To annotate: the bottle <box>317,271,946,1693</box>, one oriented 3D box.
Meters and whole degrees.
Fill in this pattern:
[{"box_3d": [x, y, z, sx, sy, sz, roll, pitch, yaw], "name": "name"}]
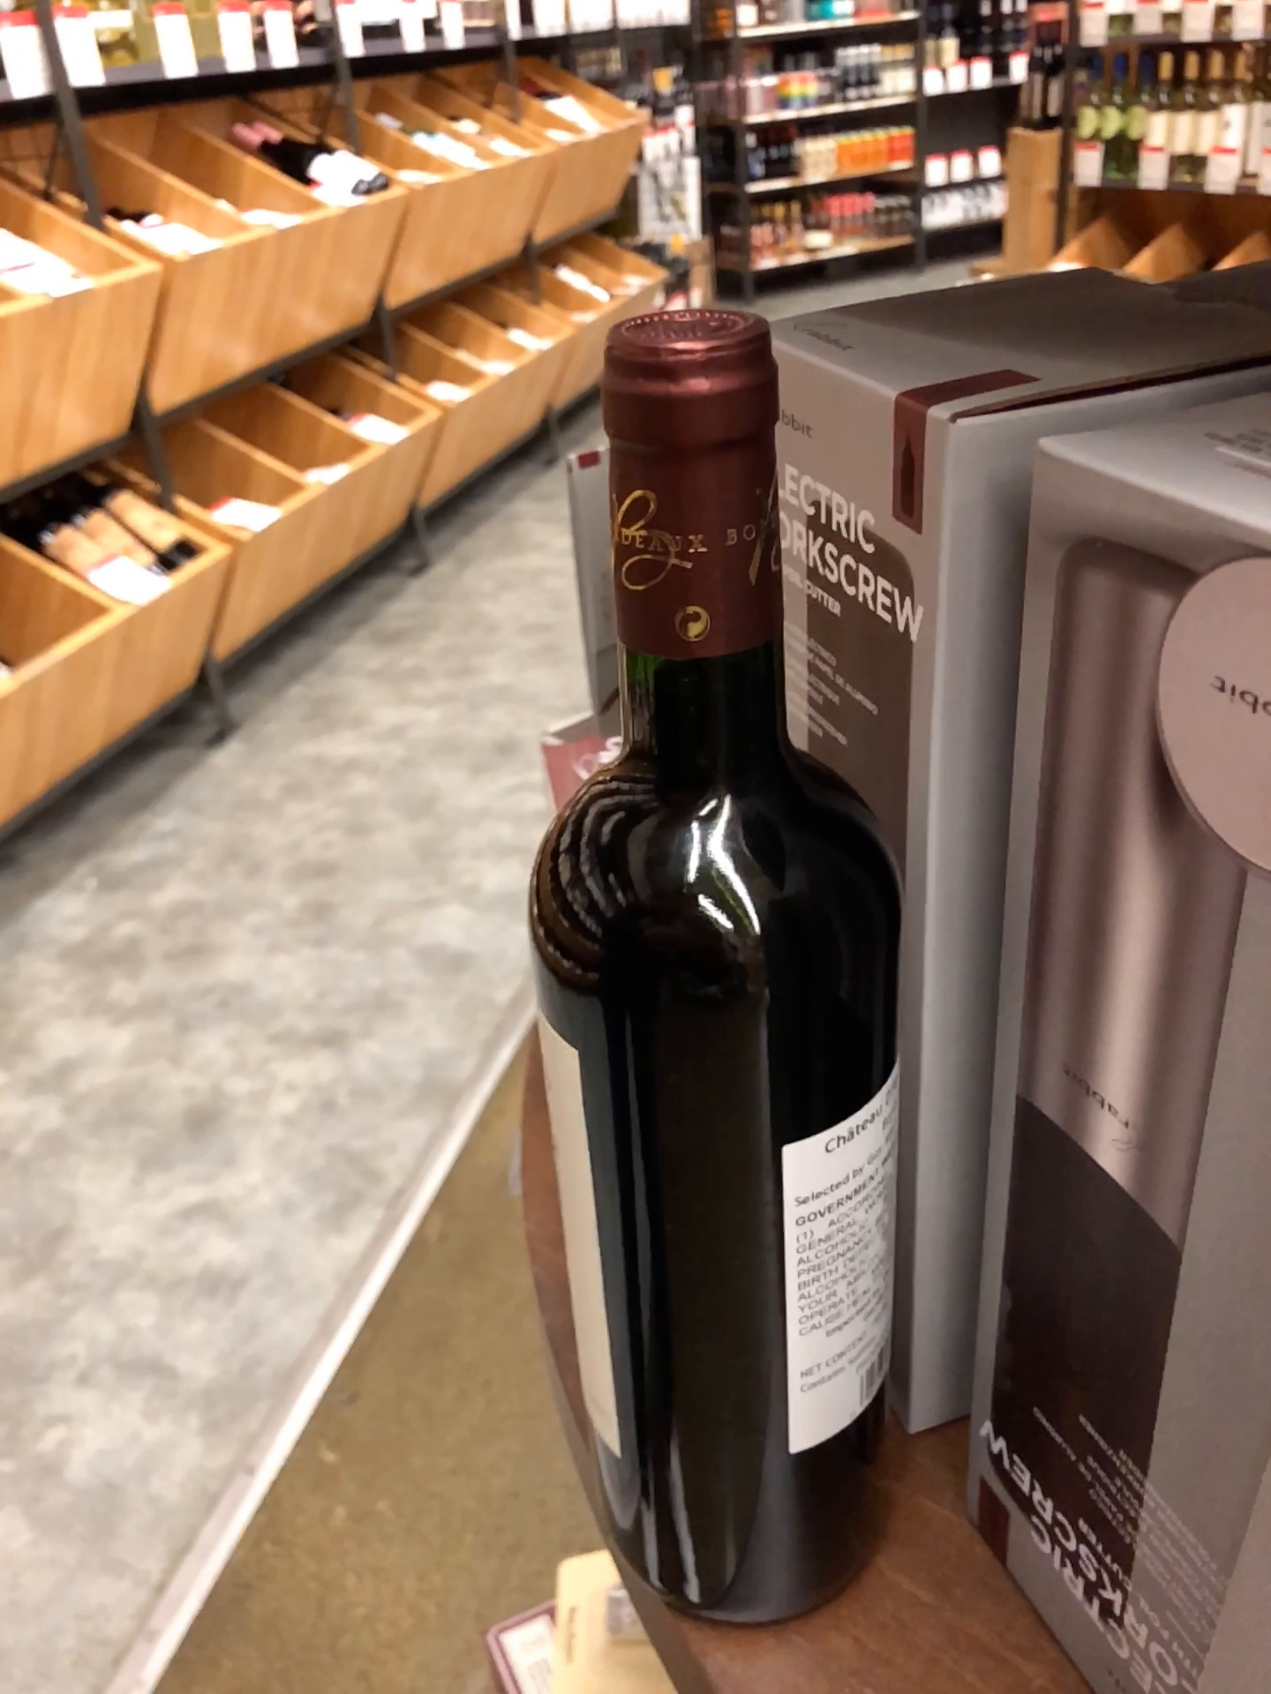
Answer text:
[{"box_3d": [0.017, 0.046, 0.300, 0.080, 0.299, 0.080, -4, 29, 2], "name": "bottle"}]
